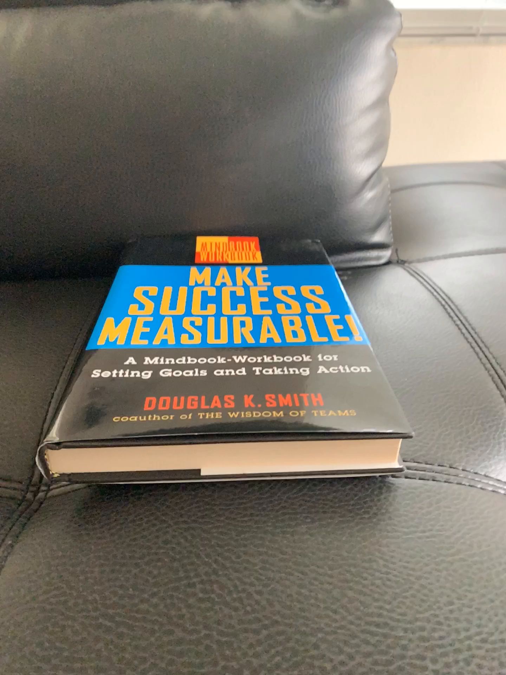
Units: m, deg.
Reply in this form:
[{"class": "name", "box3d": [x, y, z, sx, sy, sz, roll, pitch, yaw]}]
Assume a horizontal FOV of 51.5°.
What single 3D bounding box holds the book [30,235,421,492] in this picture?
[{"class": "book", "box3d": [-0.017, -0.008, 0.331, 0.164, 0.030, 0.242, -1, 31, -4]}]
